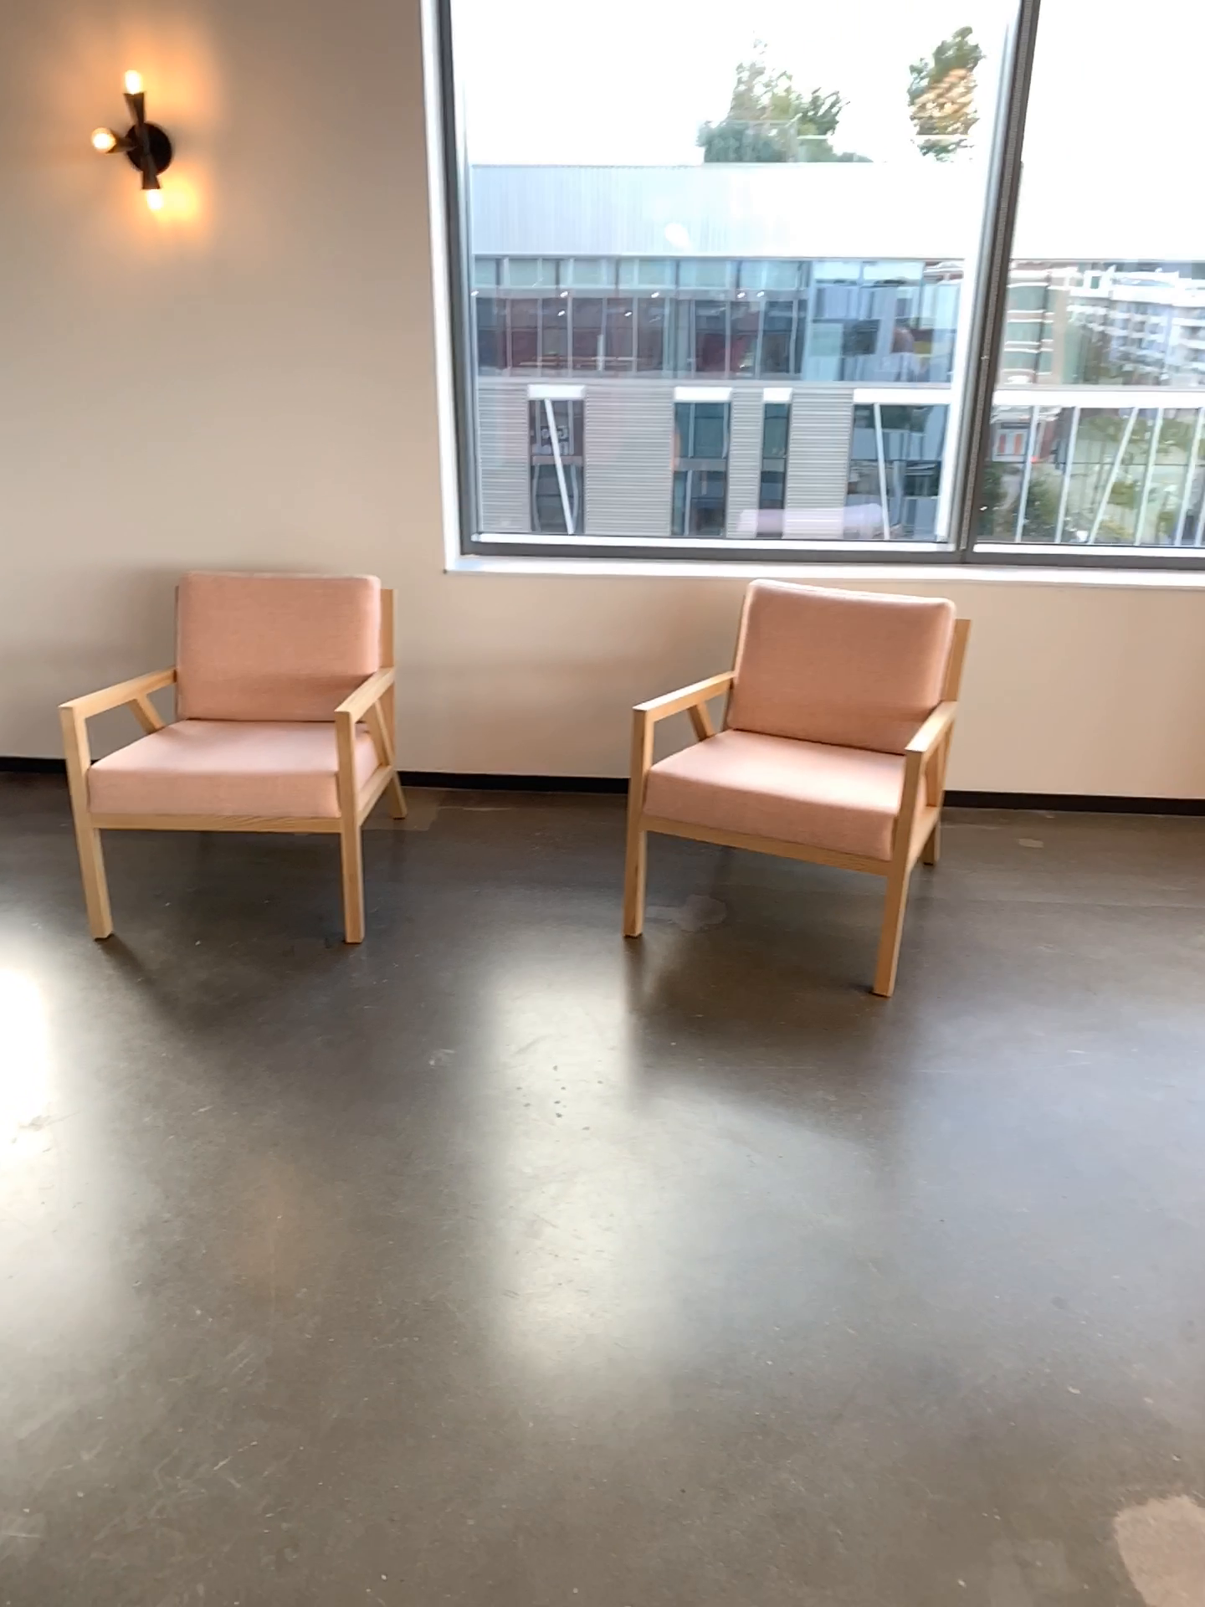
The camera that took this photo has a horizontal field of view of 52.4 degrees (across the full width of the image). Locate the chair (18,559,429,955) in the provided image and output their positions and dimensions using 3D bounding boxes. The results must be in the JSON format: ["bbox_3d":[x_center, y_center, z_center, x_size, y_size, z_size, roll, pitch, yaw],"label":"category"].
[{"bbox_3d":[-0.923,-0.159,3.244,0.740,0.796,0.774,2,23,4],"label":"chair"}]

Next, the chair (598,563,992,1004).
[{"bbox_3d":[0.492,-0.109,3.094,0.742,0.796,0.772,10,23,22],"label":"chair"}]
